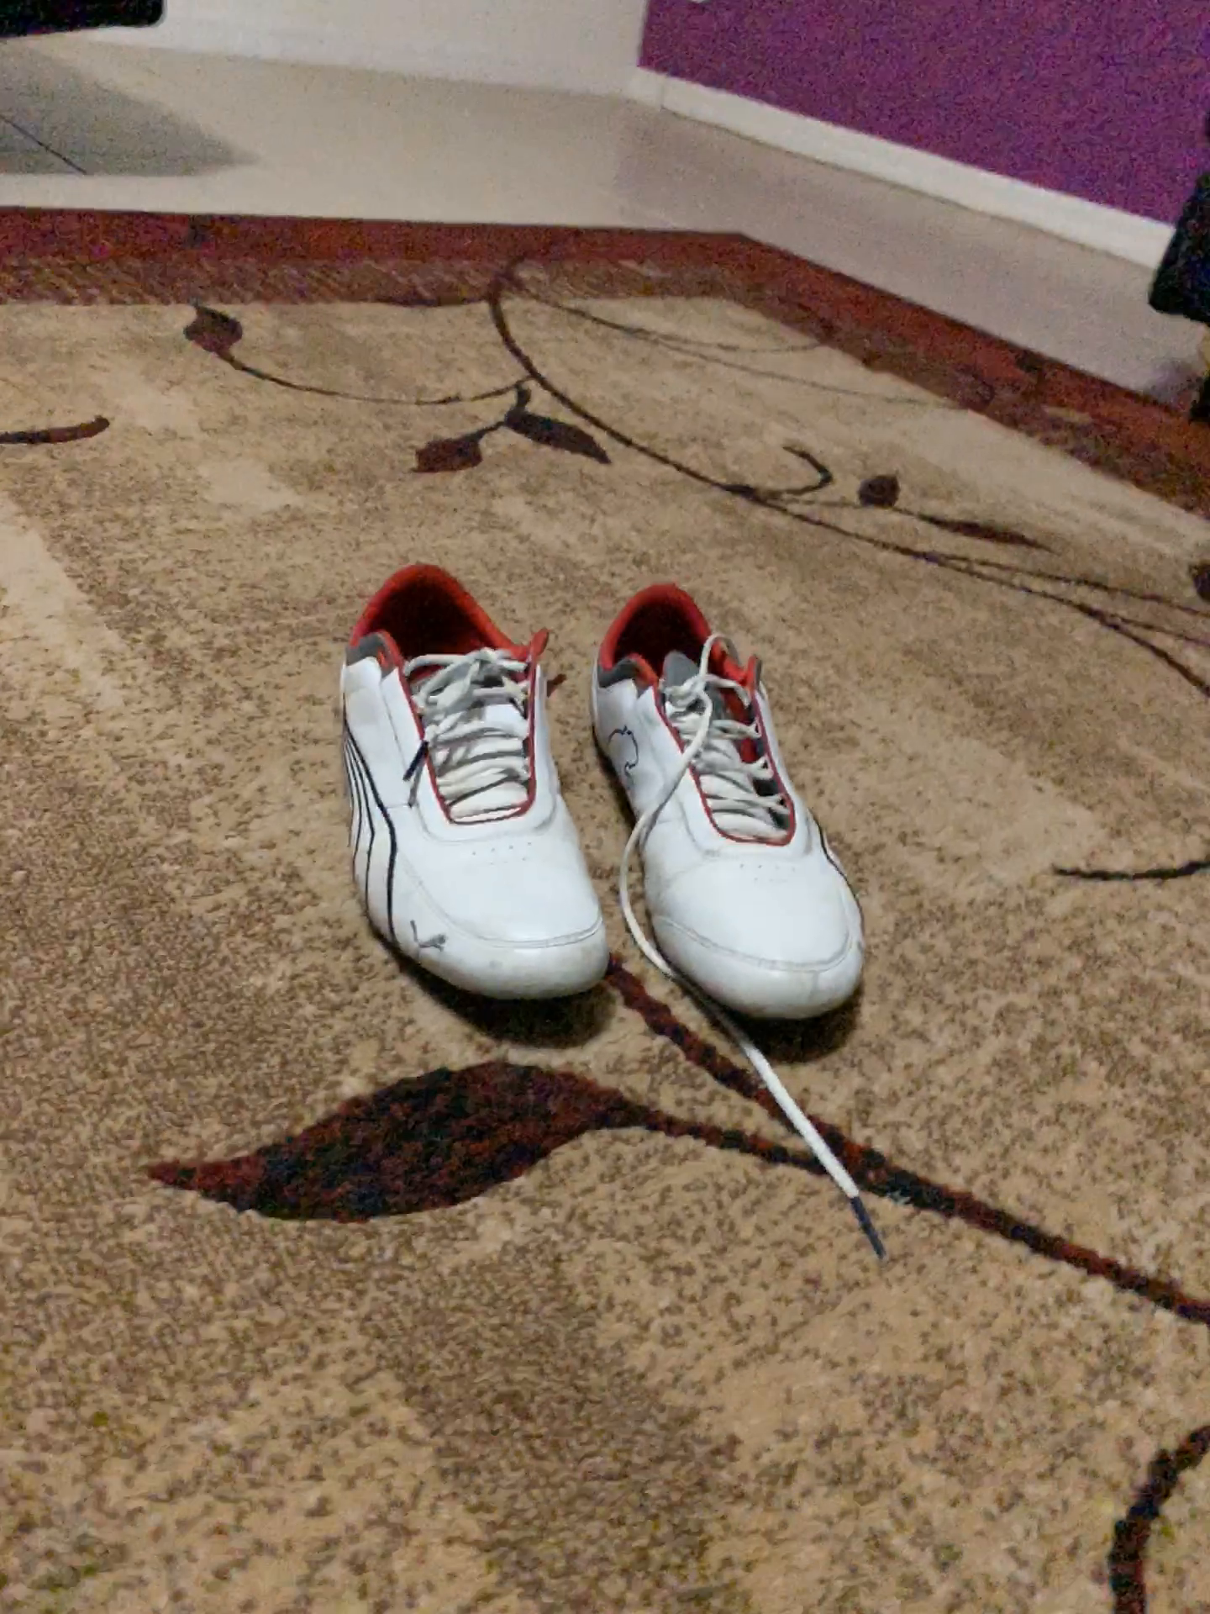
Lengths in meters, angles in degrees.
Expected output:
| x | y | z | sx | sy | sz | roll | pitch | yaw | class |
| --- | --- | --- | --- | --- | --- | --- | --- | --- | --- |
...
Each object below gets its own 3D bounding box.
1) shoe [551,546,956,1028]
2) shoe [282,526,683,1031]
| x | y | z | sx | sy | sz | roll | pitch | yaw | class |
| --- | --- | --- | --- | --- | --- | --- | --- | --- | --- |
| 0.049 | -0.026 | 0.577 | 0.103 | 0.070 | 0.283 | 2 | 35 | -14 | shoe |
| -0.072 | -0.033 | 0.554 | 0.099 | 0.070 | 0.283 | -4 | 37 | -22 | shoe |
